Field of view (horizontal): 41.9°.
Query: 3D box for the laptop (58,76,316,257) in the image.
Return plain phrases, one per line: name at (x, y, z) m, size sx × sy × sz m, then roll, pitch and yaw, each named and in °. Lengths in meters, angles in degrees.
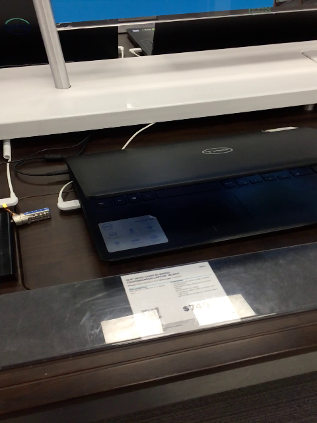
laptop at (0.081, -0.080, 0.585) m, size 0.390 × 0.108 × 0.216 m, roll -10°, pitch 45°, yaw -12°
